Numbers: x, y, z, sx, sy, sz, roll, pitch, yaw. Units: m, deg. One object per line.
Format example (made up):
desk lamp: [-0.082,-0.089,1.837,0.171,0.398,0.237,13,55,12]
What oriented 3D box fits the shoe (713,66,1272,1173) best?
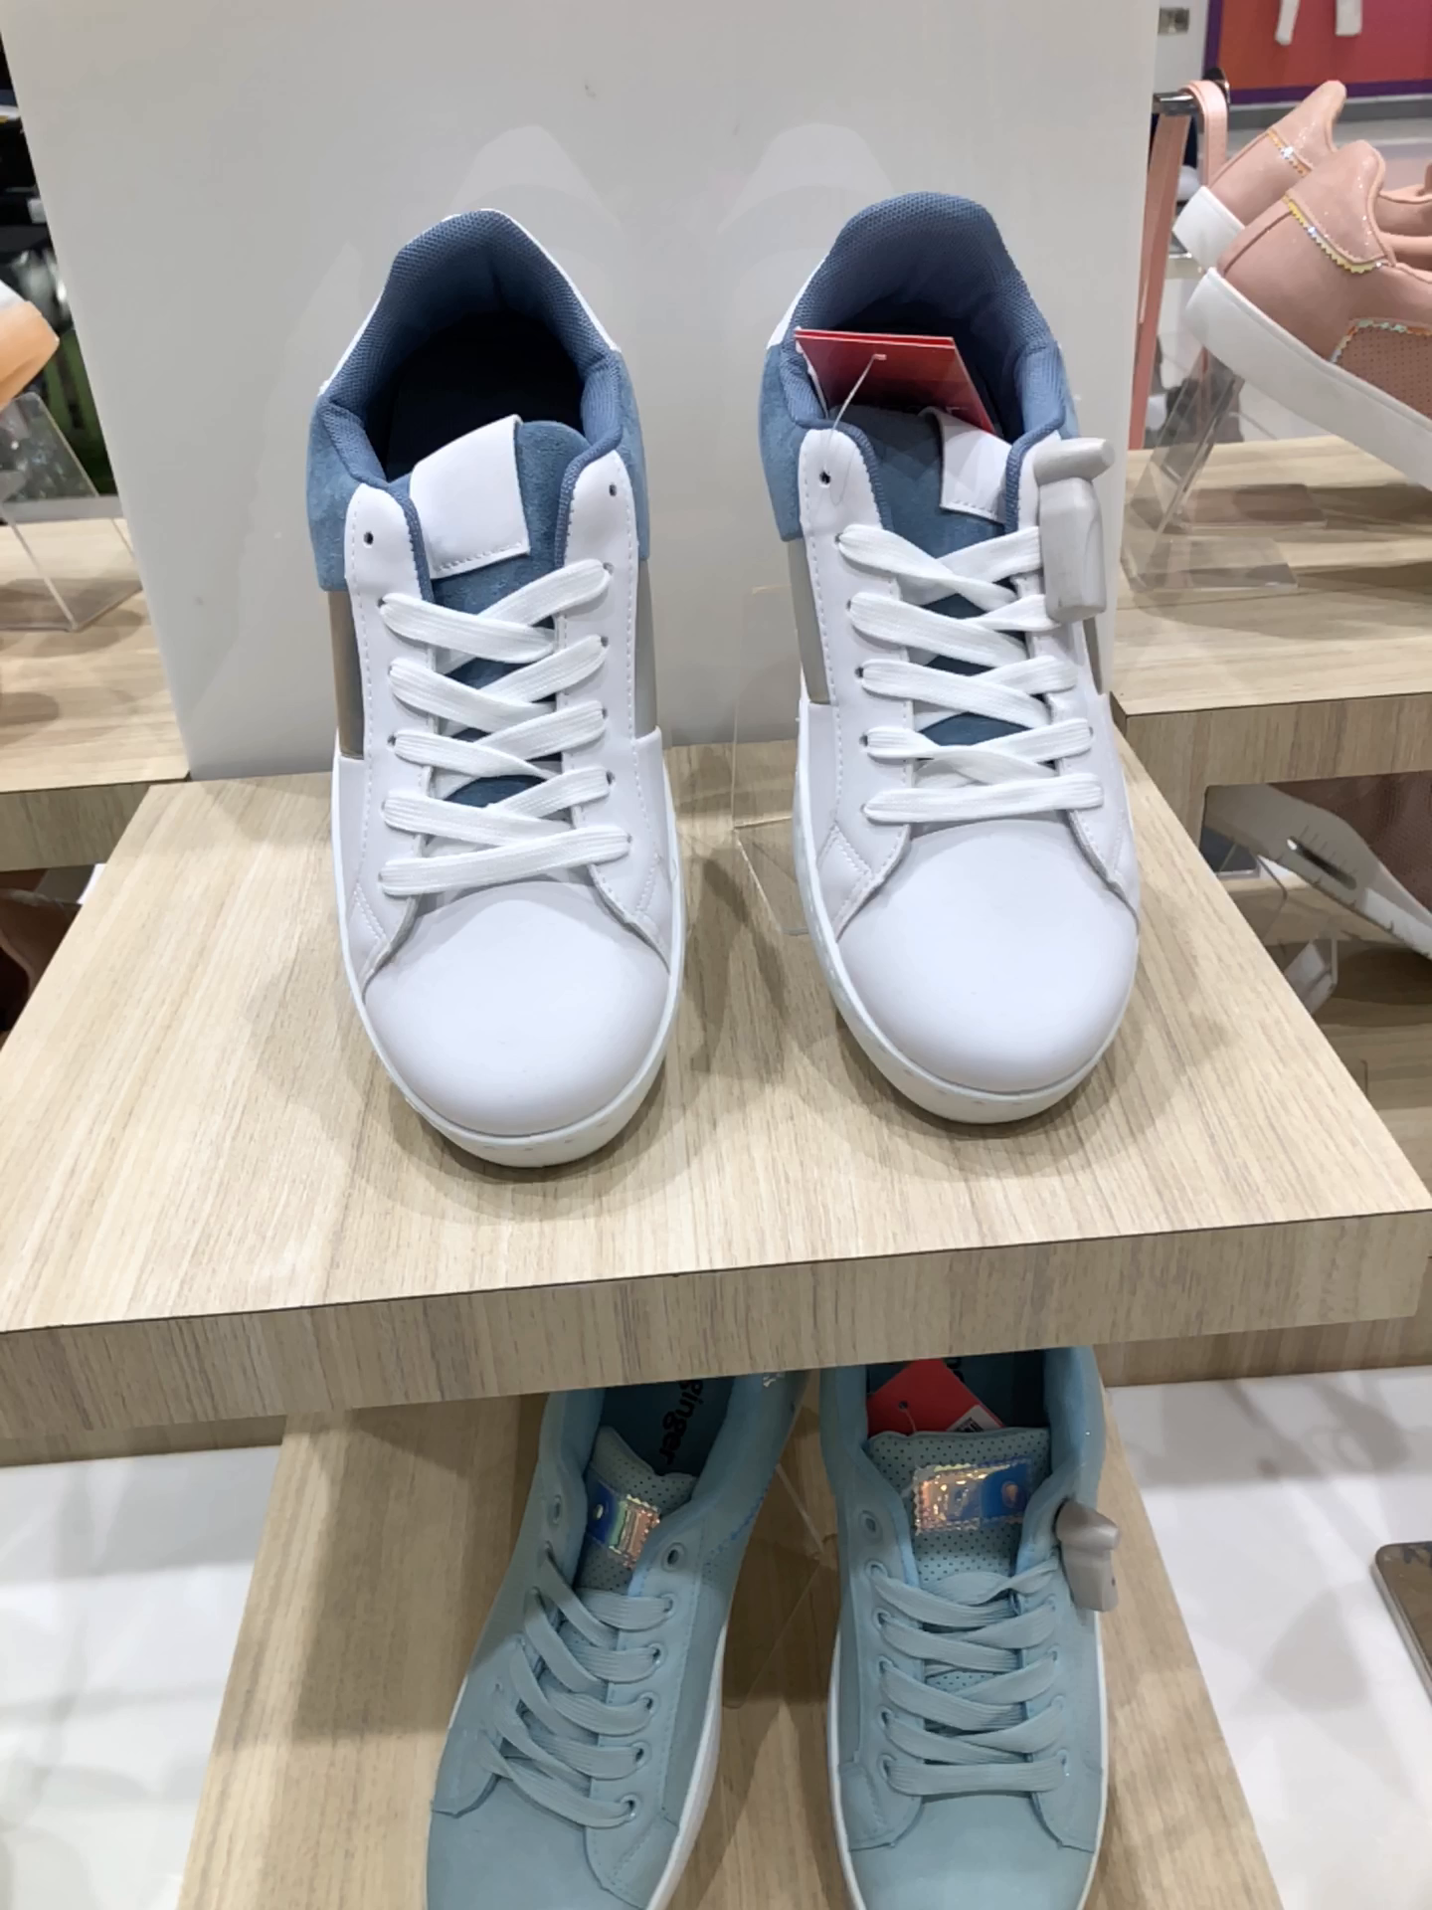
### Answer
shoe: [0.061,-0.081,0.421,0.102,0.264,0.103,-4,-11,-1]

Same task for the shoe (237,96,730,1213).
shoe: [-0.059,-0.071,0.413,0.092,0.262,0.103,-6,-12,-4]
